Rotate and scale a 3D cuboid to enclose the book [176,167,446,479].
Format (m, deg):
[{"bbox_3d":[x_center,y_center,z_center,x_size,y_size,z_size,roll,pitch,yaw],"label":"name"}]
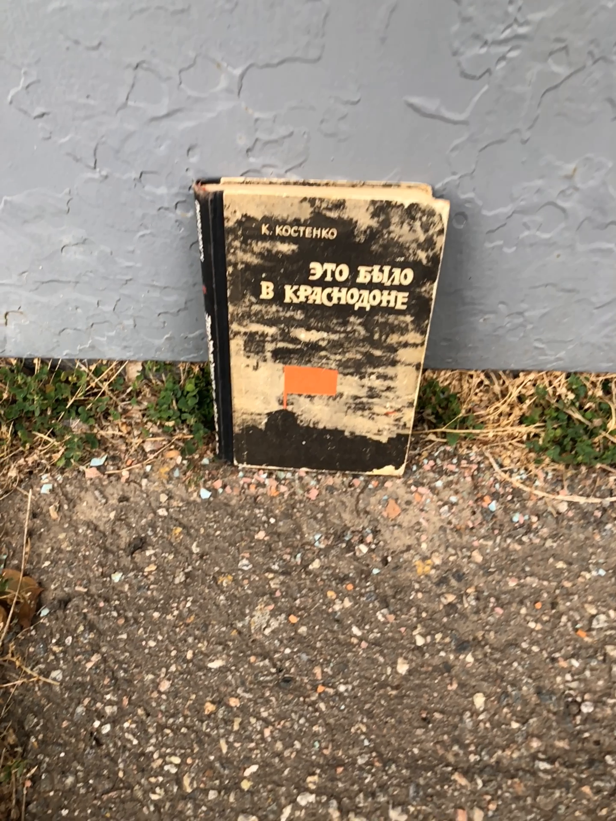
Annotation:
[{"bbox_3d":[0.001,-0.044,0.425,0.140,0.199,0.030,3,38,3],"label":"book"}]
